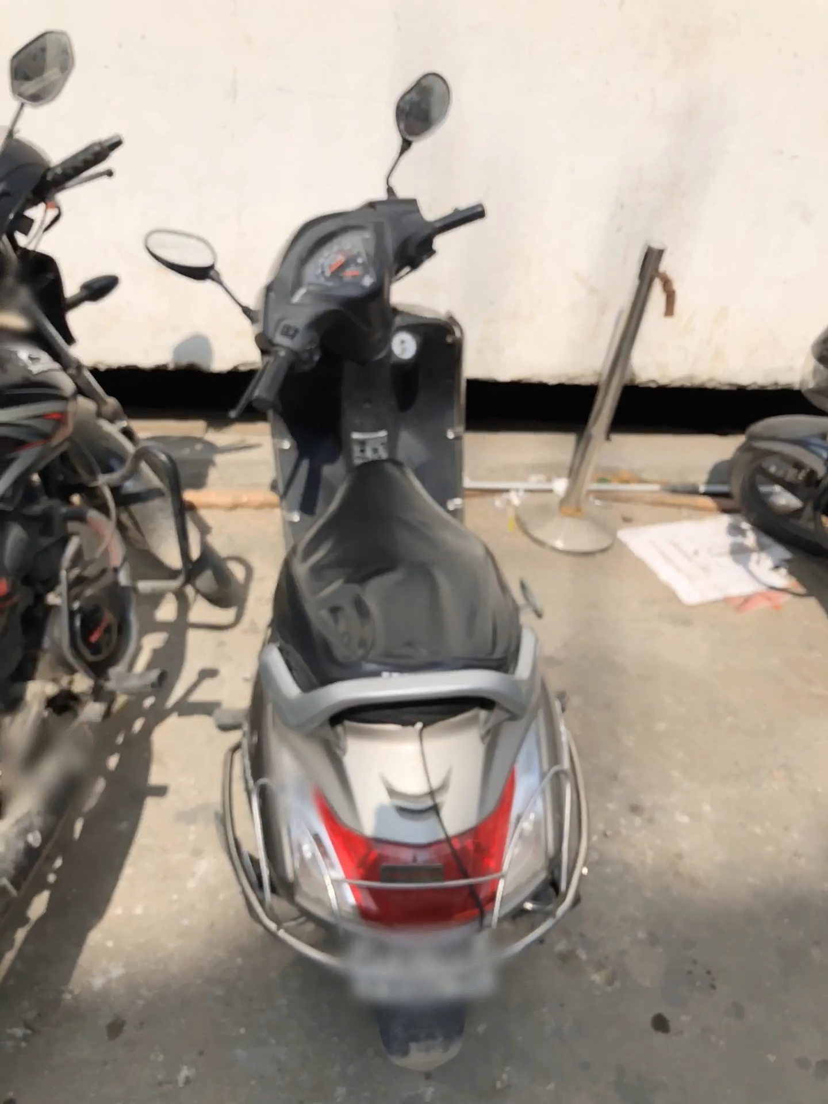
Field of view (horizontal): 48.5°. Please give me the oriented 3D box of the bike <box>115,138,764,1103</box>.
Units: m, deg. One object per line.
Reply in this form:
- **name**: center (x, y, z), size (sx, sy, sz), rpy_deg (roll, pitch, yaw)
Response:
- **bike**: center (-0.094, -0.023, 1.769), size (0.616, 1.107, 1.508), rpy_deg (4, 33, -9)
